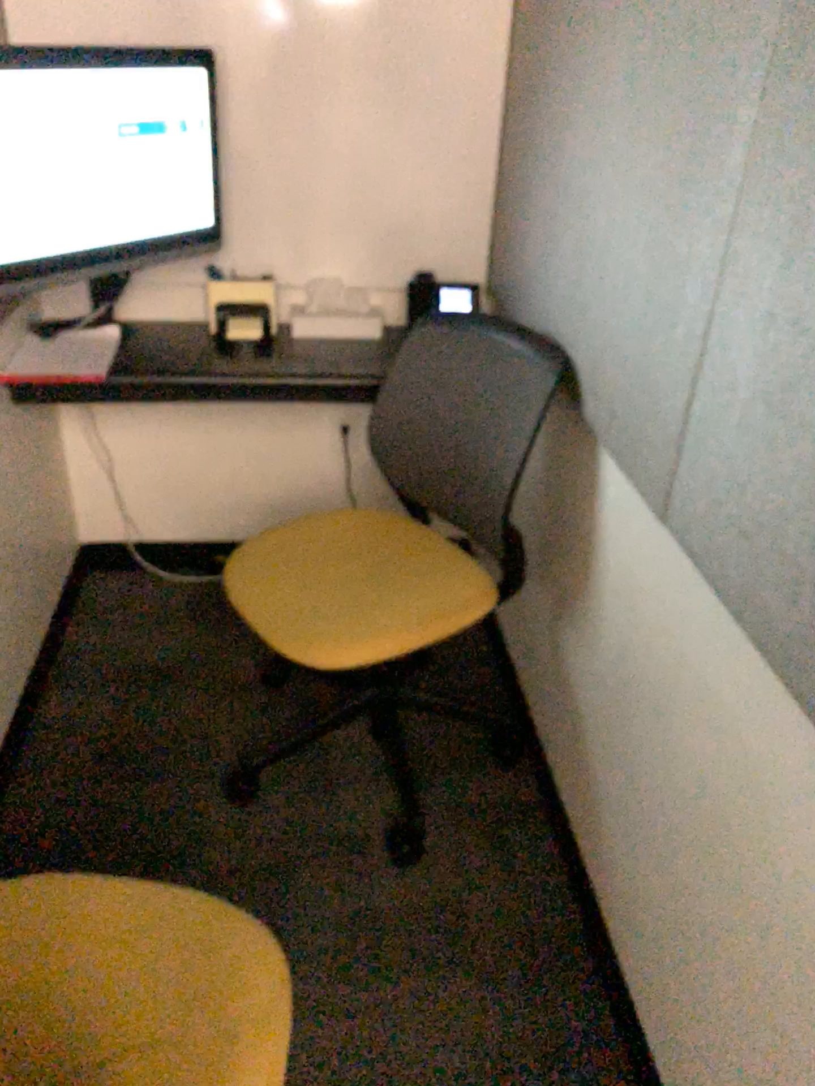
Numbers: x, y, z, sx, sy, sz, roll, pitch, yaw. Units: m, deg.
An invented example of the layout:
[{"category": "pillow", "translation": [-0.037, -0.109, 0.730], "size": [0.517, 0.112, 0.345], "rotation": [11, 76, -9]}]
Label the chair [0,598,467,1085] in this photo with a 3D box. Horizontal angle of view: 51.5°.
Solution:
[{"category": "chair", "translation": [-0.297, 0.593, 0.680], "size": [0.550, 0.845, 0.573], "rotation": [8, 31, 7]}]

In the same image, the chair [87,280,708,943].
[{"category": "chair", "translation": [-0.047, 0.048, 2.063], "size": [0.952, 1.034, 0.923], "rotation": [-23, 40, -37]}]
